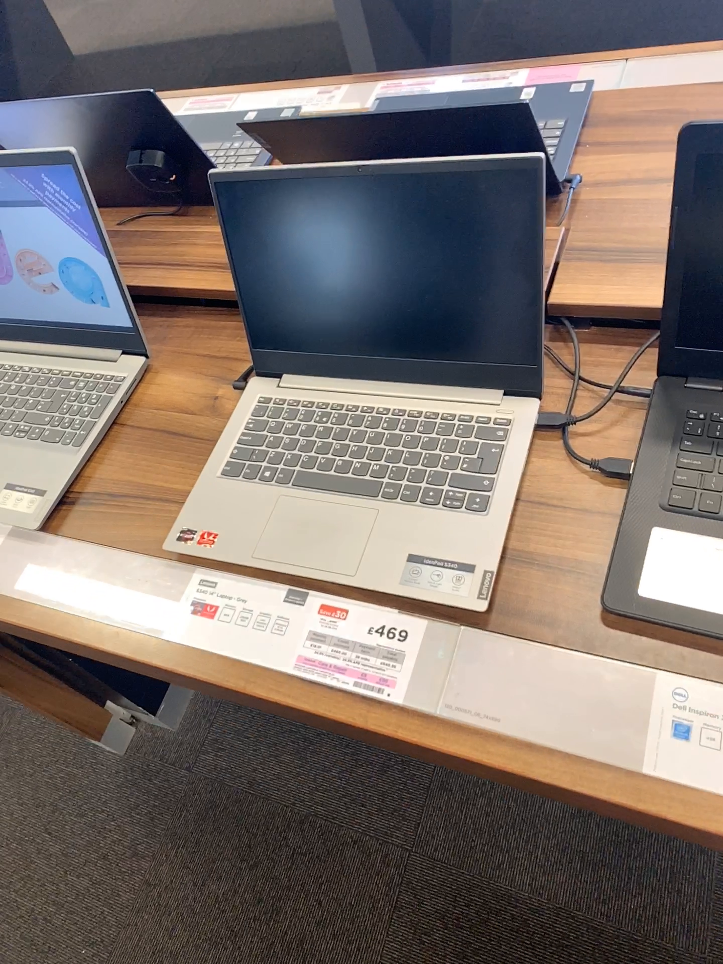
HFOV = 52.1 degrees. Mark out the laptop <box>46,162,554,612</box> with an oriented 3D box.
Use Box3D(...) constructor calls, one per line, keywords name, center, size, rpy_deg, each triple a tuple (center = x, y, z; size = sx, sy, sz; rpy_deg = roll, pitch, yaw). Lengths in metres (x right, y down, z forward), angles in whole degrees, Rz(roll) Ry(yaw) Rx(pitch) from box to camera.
Box3D(name="laptop", center=(-0.024, -0.096, 0.647), size=(0.316, 0.199, 0.295), rpy_deg=(8, 58, 24))
